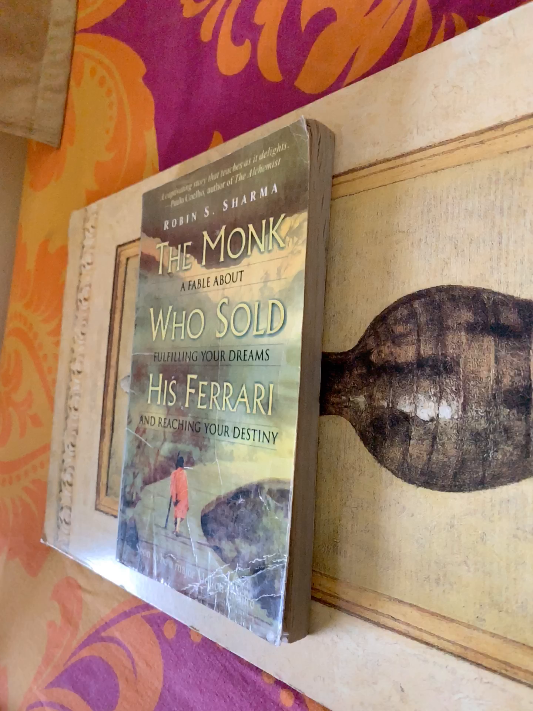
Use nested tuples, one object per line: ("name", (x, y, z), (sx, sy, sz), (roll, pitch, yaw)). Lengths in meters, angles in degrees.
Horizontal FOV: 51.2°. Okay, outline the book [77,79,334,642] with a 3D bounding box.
("book", (-0.034, 0.000, 0.254), (0.131, 0.030, 0.200), (-2, 83, 46))
